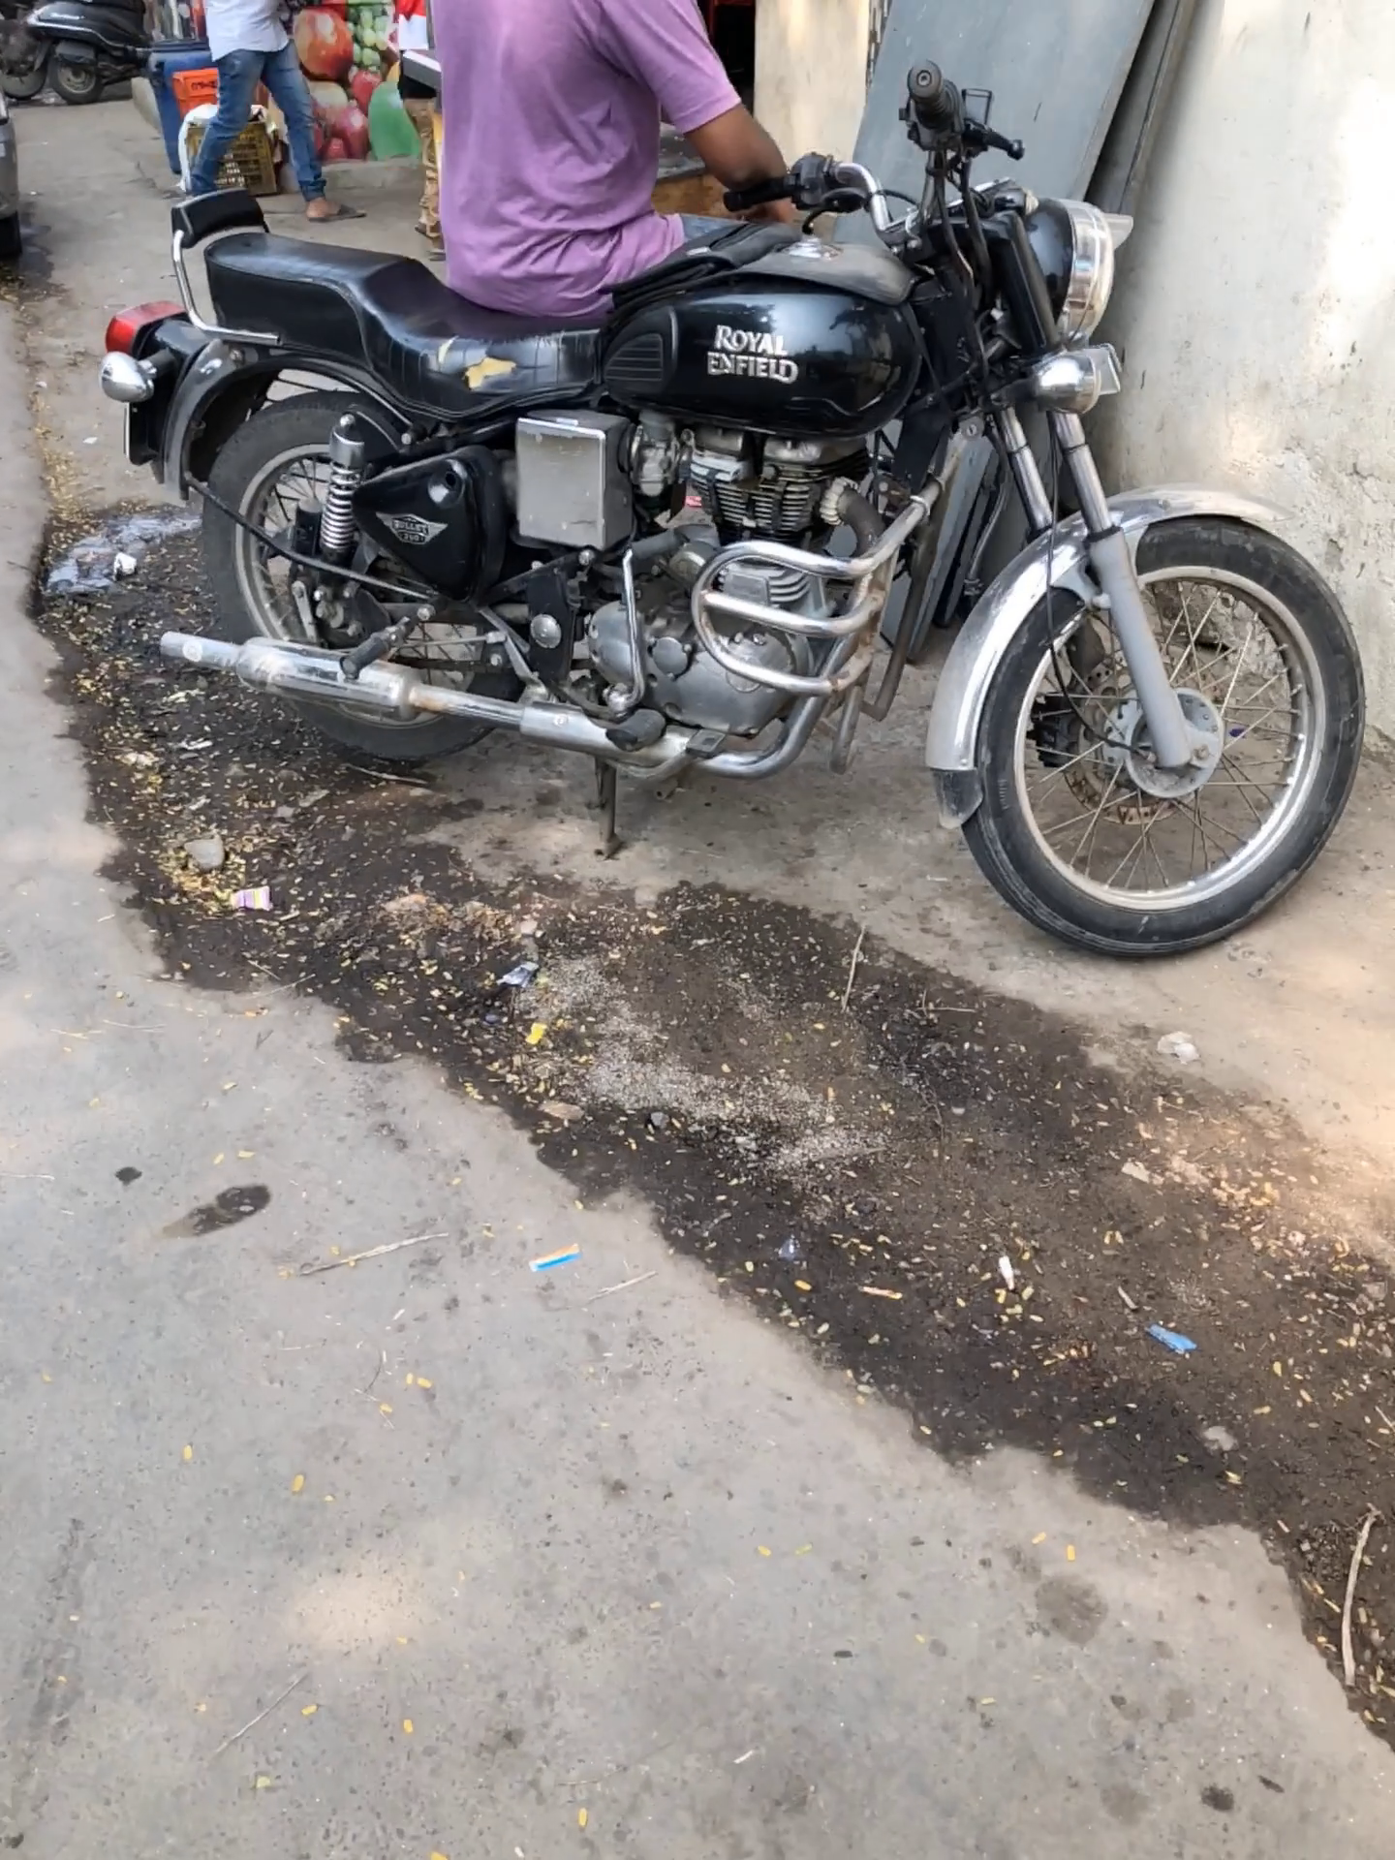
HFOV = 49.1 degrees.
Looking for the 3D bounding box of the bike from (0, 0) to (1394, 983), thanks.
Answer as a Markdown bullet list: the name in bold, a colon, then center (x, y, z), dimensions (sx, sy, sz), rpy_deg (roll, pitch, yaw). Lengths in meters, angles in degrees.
- **bike**: center (0.060, -0.765, 2.431), dimensions (1.918, 1.173, 0.844), rpy_deg (10, 34, 17)
